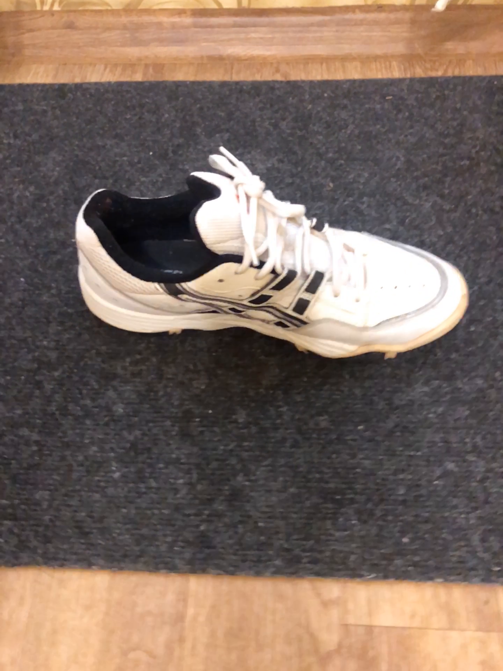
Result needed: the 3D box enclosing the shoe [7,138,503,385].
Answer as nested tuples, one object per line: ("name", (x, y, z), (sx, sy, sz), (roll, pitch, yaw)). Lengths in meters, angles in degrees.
("shoe", (0.015, -0.047, 0.369), (0.289, 0.110, 0.100), (4, 60, 6))
